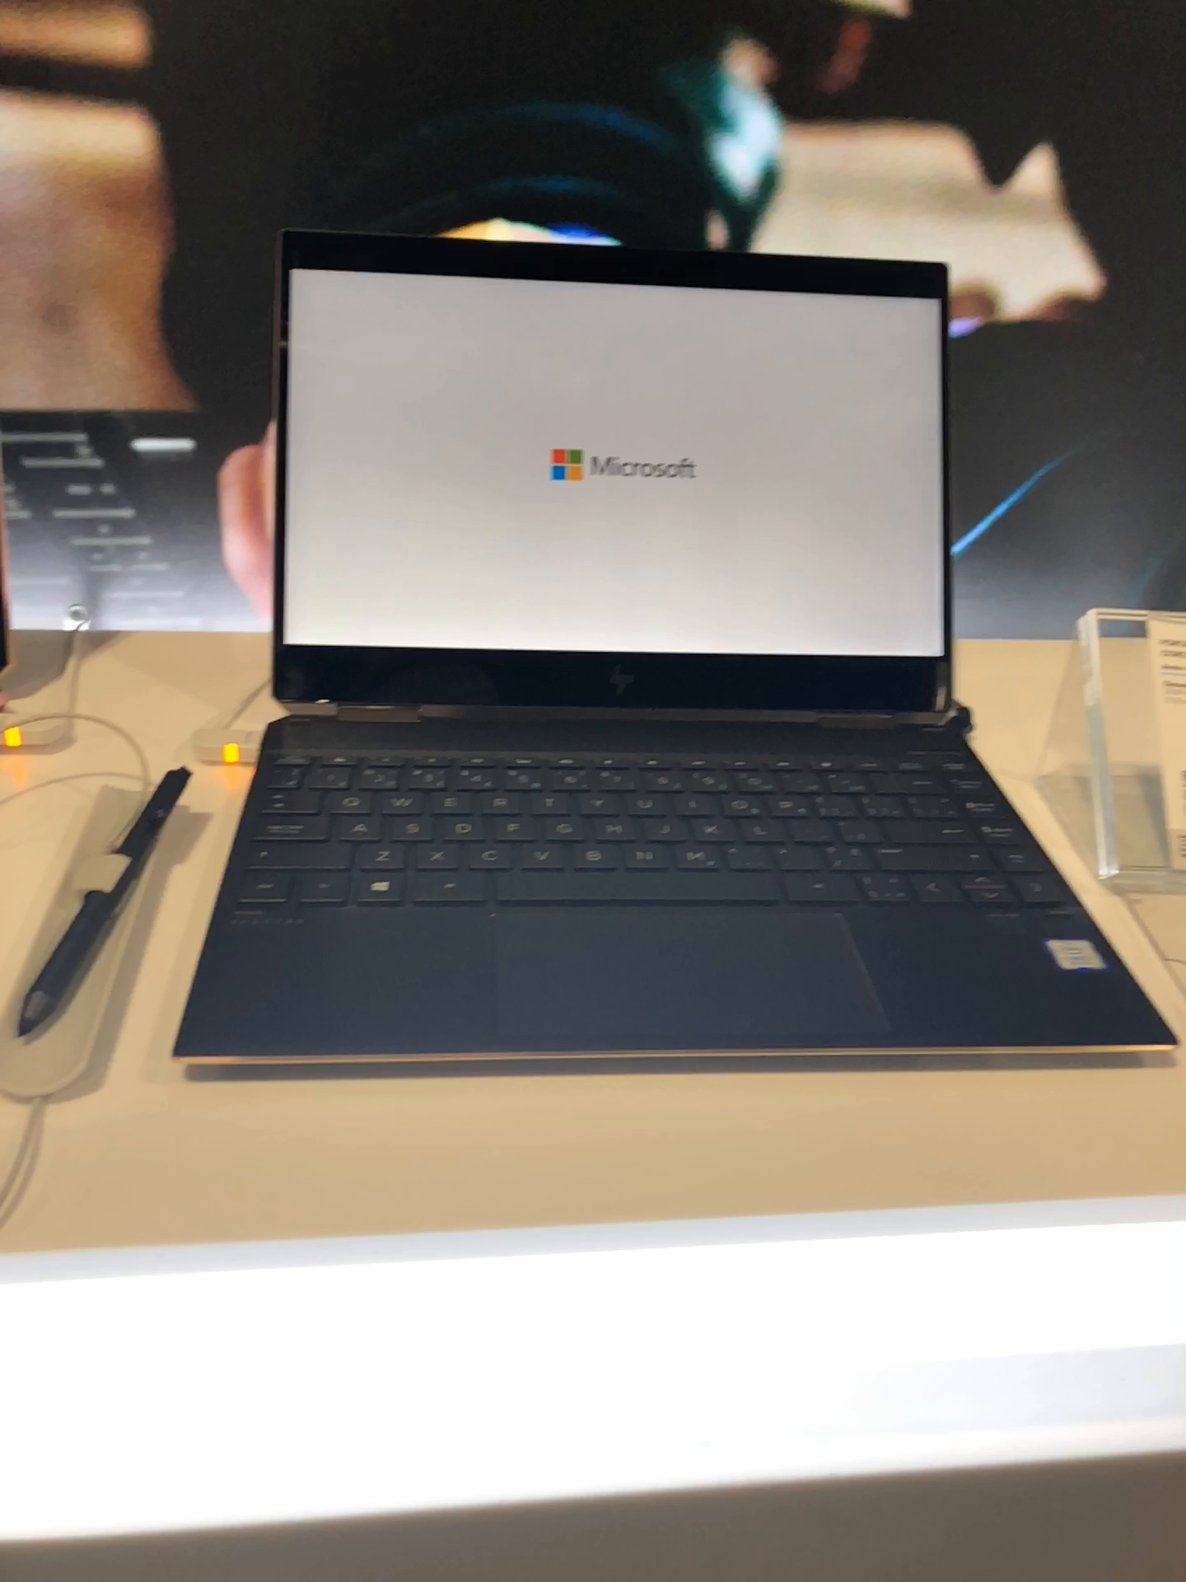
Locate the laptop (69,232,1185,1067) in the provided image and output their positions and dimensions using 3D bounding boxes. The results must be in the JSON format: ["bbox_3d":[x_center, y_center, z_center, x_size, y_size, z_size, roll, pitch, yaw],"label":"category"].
[{"bbox_3d":[0.021,-0.086,0.488,0.305,0.172,0.347,0,30,-6],"label":"laptop"}]
